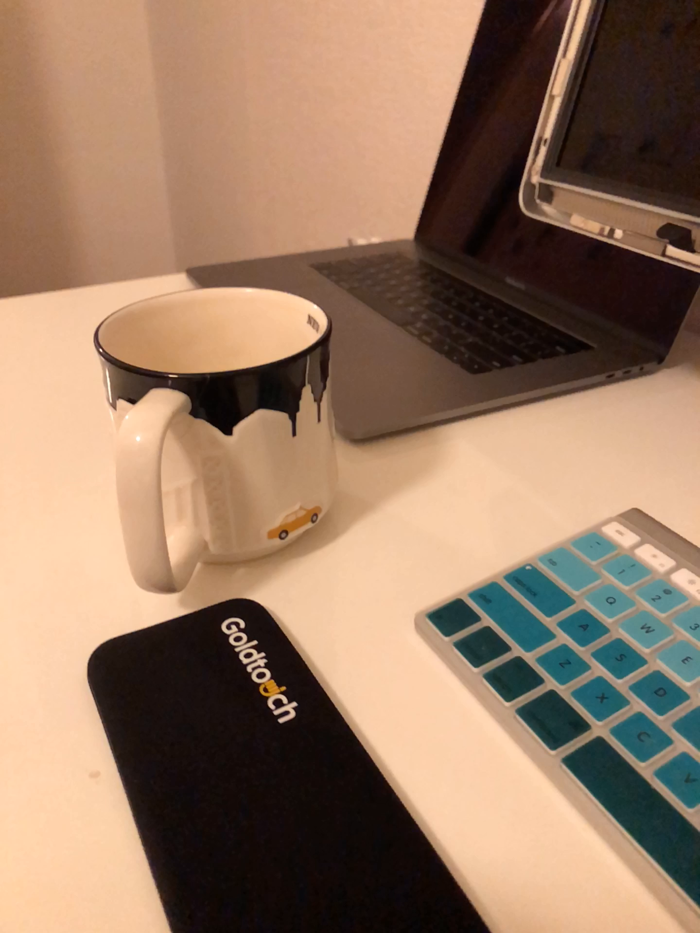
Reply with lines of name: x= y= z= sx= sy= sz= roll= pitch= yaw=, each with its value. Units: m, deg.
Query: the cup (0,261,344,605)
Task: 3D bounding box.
cup: x=-0.062 y=-0.025 z=0.347 sx=0.110 sy=0.089 sz=0.151 roll=1 pitch=31 yaw=2
